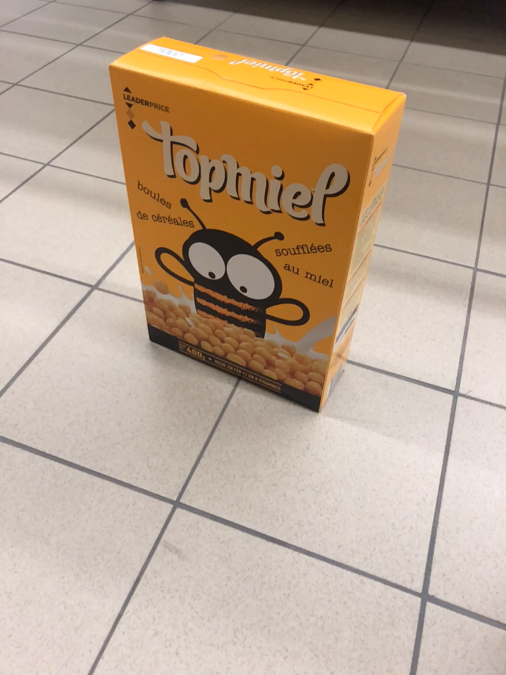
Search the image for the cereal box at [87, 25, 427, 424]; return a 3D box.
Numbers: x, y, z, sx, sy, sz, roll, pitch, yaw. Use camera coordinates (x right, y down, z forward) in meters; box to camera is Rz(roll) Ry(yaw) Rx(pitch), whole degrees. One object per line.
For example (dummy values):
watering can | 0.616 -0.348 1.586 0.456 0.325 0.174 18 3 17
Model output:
cereal box | -0.006 -0.074 0.445 0.210 0.268 0.060 22 48 18
